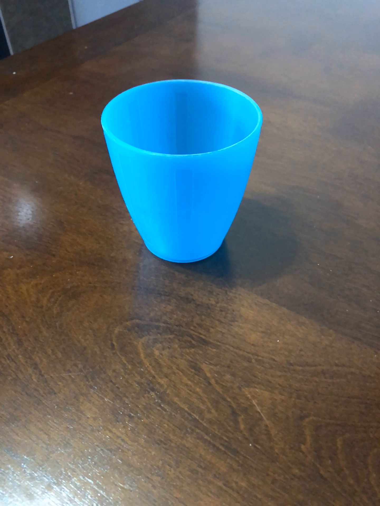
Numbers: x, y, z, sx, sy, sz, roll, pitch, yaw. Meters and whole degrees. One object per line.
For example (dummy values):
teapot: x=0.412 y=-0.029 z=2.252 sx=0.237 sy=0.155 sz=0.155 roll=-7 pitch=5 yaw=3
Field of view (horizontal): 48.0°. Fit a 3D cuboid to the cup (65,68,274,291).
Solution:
cup: x=-0.005 y=-0.039 z=0.224 sx=0.080 sy=0.080 sz=0.070 roll=10 pitch=46 yaw=10
